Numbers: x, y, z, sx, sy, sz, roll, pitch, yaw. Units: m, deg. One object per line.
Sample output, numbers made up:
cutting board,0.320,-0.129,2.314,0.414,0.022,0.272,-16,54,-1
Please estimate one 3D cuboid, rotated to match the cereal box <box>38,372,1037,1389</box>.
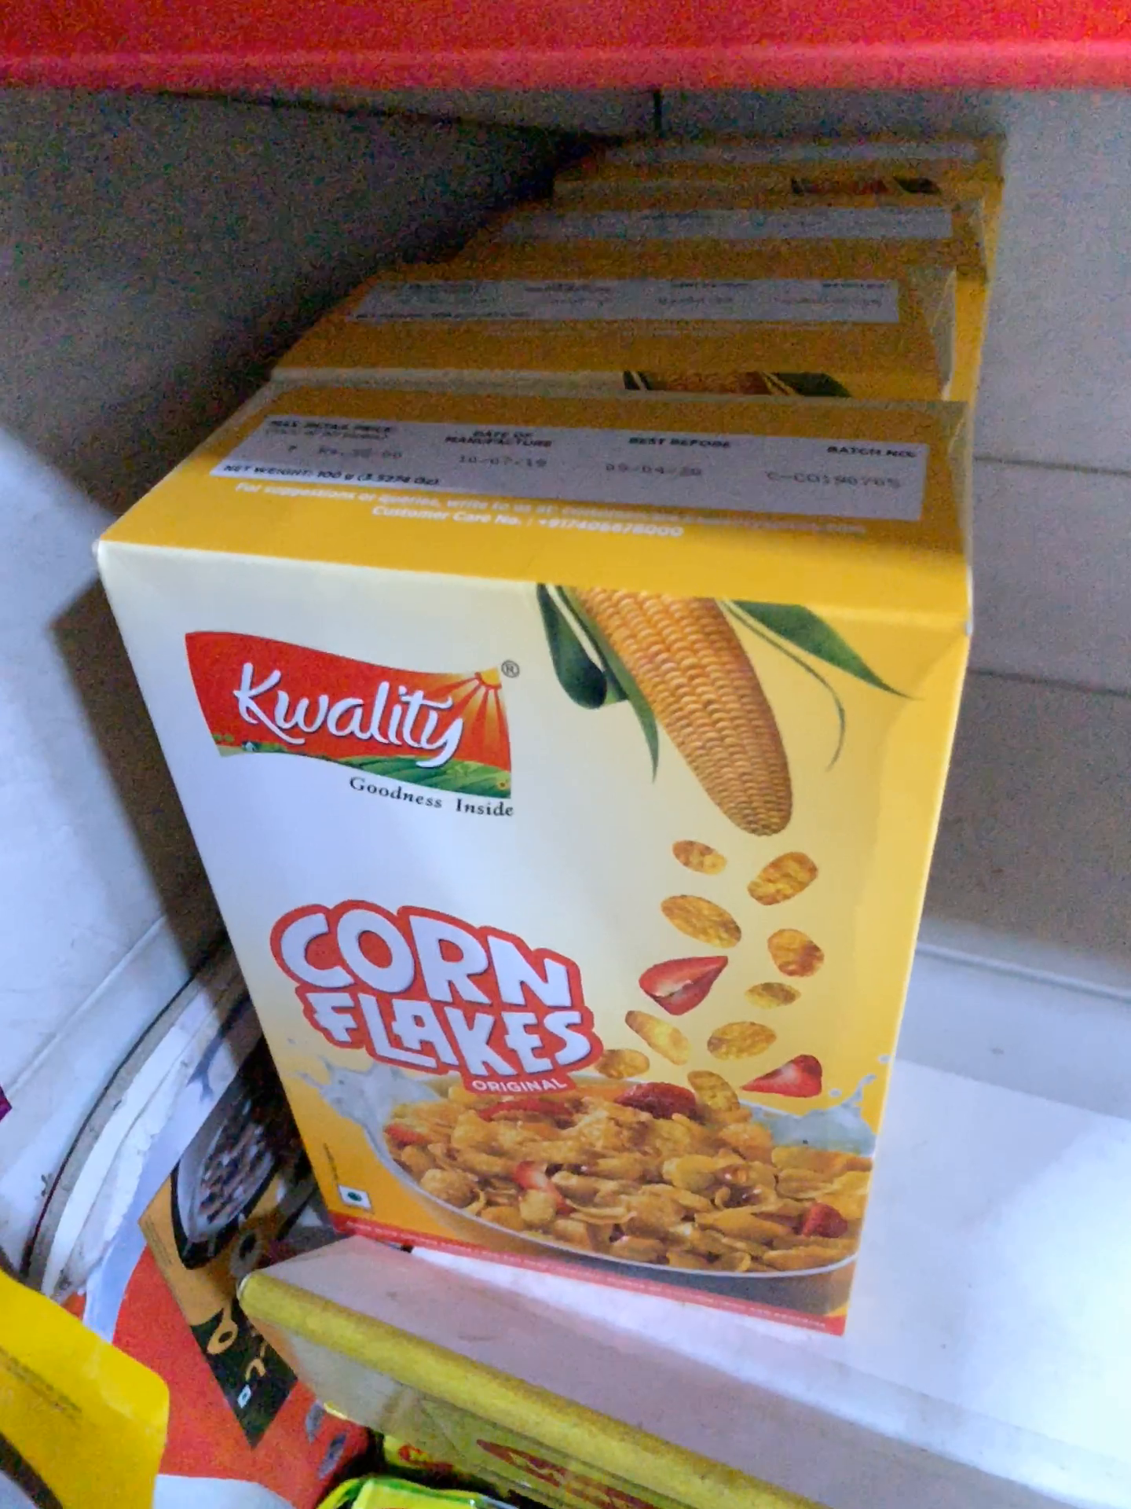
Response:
cereal box,0.004,0.031,0.215,0.120,0.178,0.060,5,39,13
